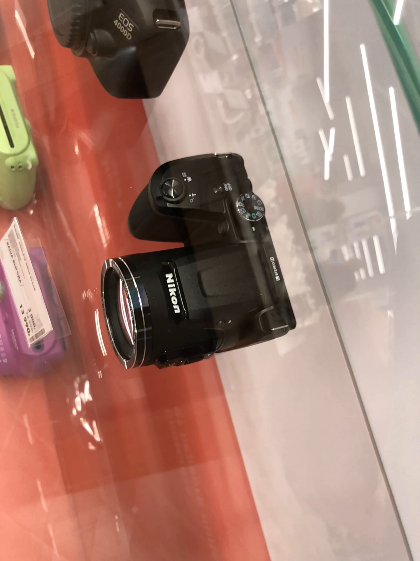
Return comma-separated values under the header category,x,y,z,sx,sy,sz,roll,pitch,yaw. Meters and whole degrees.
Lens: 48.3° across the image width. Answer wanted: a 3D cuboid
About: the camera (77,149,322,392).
category,x,y,z,sx,sy,sz,roll,pitch,yaw
camera,-0.011,-0.006,0.275,0.100,0.070,0.115,-10,80,-26
